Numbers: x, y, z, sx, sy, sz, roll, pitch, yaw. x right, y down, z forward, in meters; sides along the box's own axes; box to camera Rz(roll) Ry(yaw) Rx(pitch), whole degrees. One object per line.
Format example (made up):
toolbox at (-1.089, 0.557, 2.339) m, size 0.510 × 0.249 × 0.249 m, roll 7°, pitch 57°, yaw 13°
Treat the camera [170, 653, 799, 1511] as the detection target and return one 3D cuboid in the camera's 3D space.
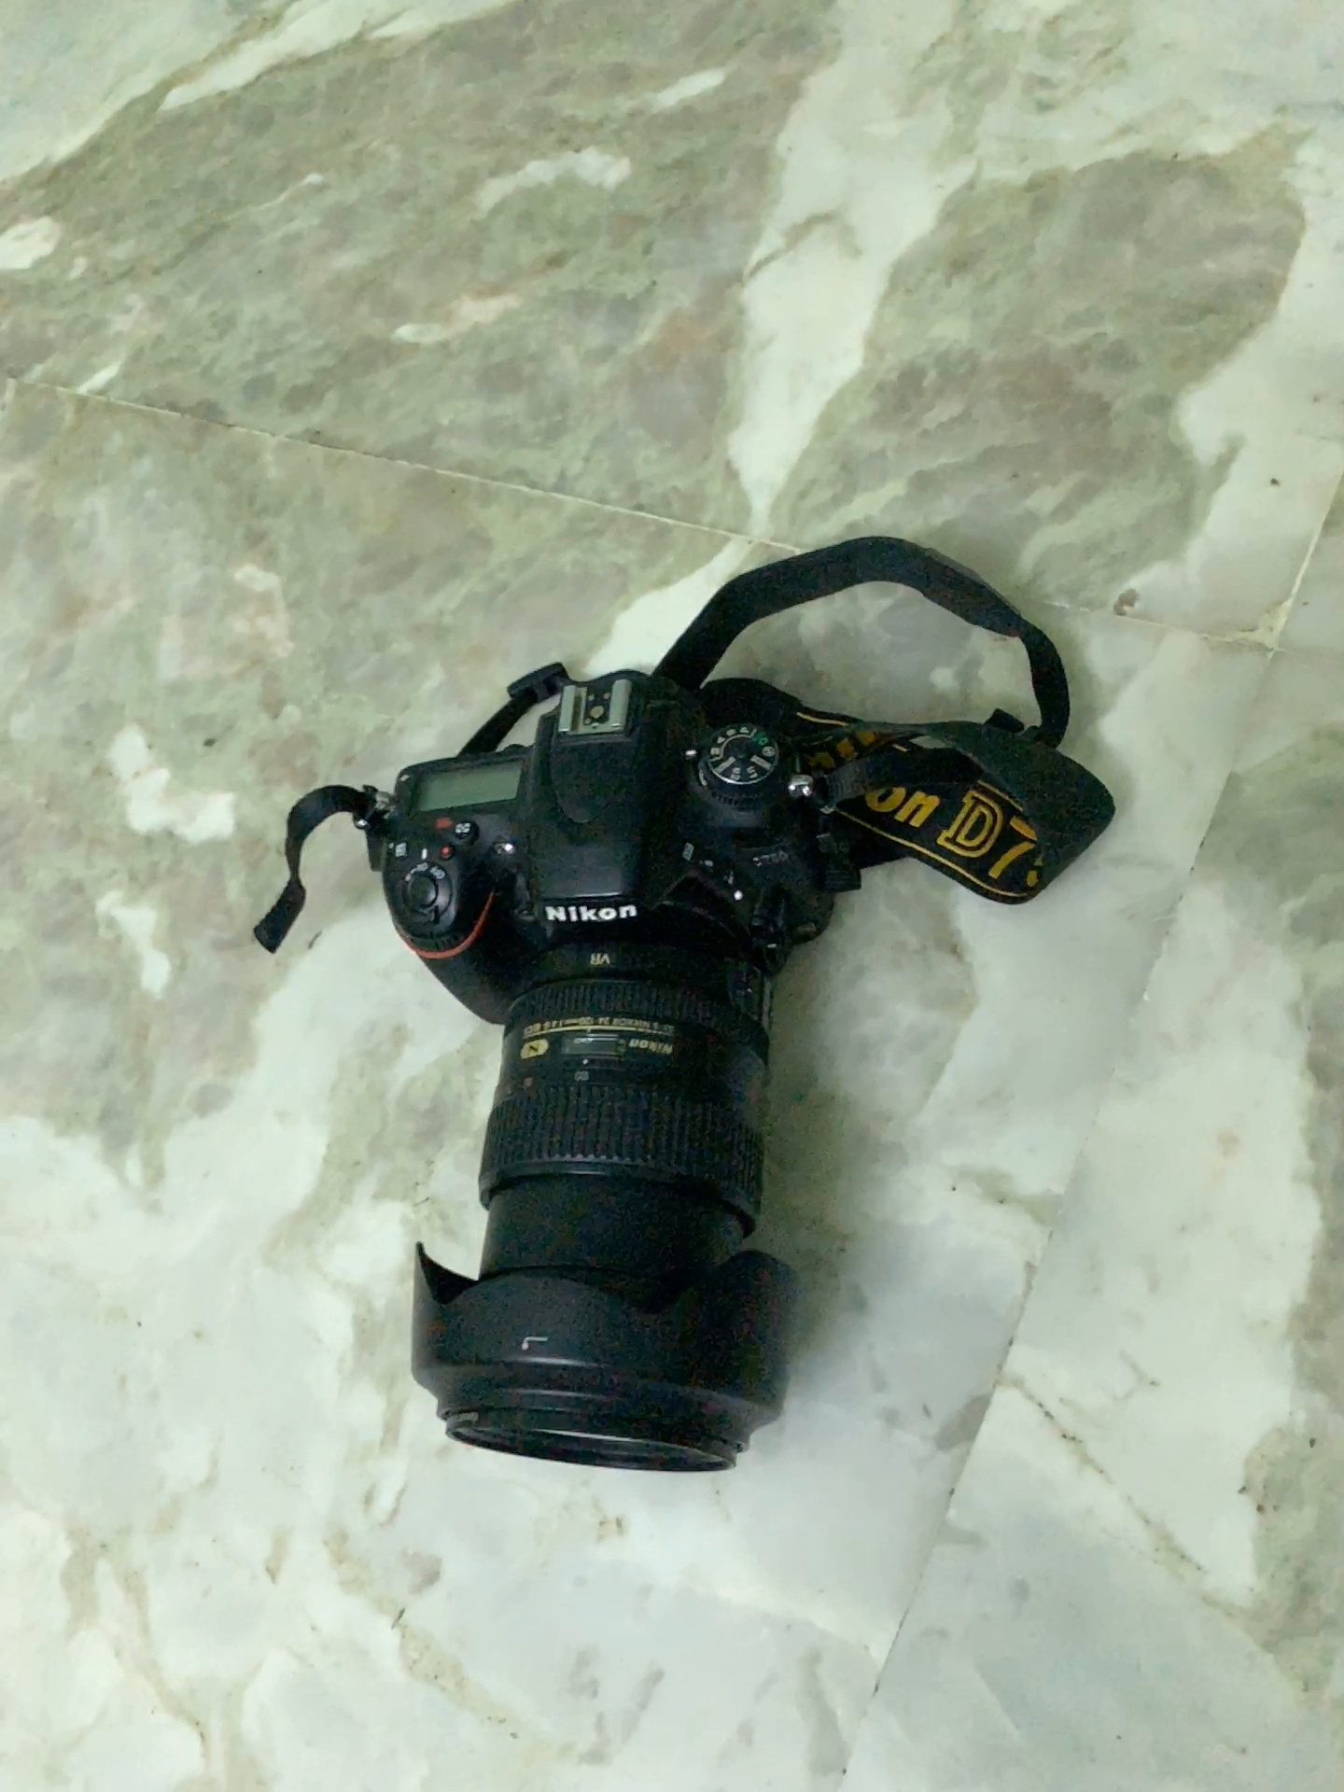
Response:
camera at (-0.038, 0.053, 0.385) m, size 0.130 × 0.090 × 0.210 m, roll -5°, pitch 64°, yaw 16°
